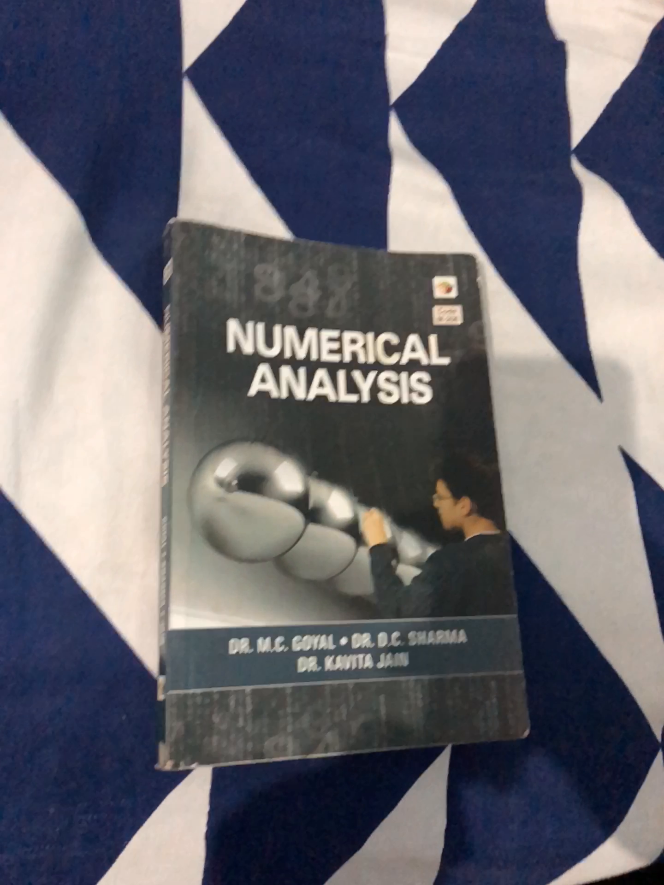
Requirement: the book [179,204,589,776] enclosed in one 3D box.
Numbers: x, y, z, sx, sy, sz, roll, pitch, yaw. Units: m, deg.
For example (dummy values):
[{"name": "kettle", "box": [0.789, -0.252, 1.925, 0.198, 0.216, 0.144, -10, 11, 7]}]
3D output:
[{"name": "book", "box": [0.016, 0.013, 0.278, 0.140, 0.030, 0.190, 2, 77, -17]}]
